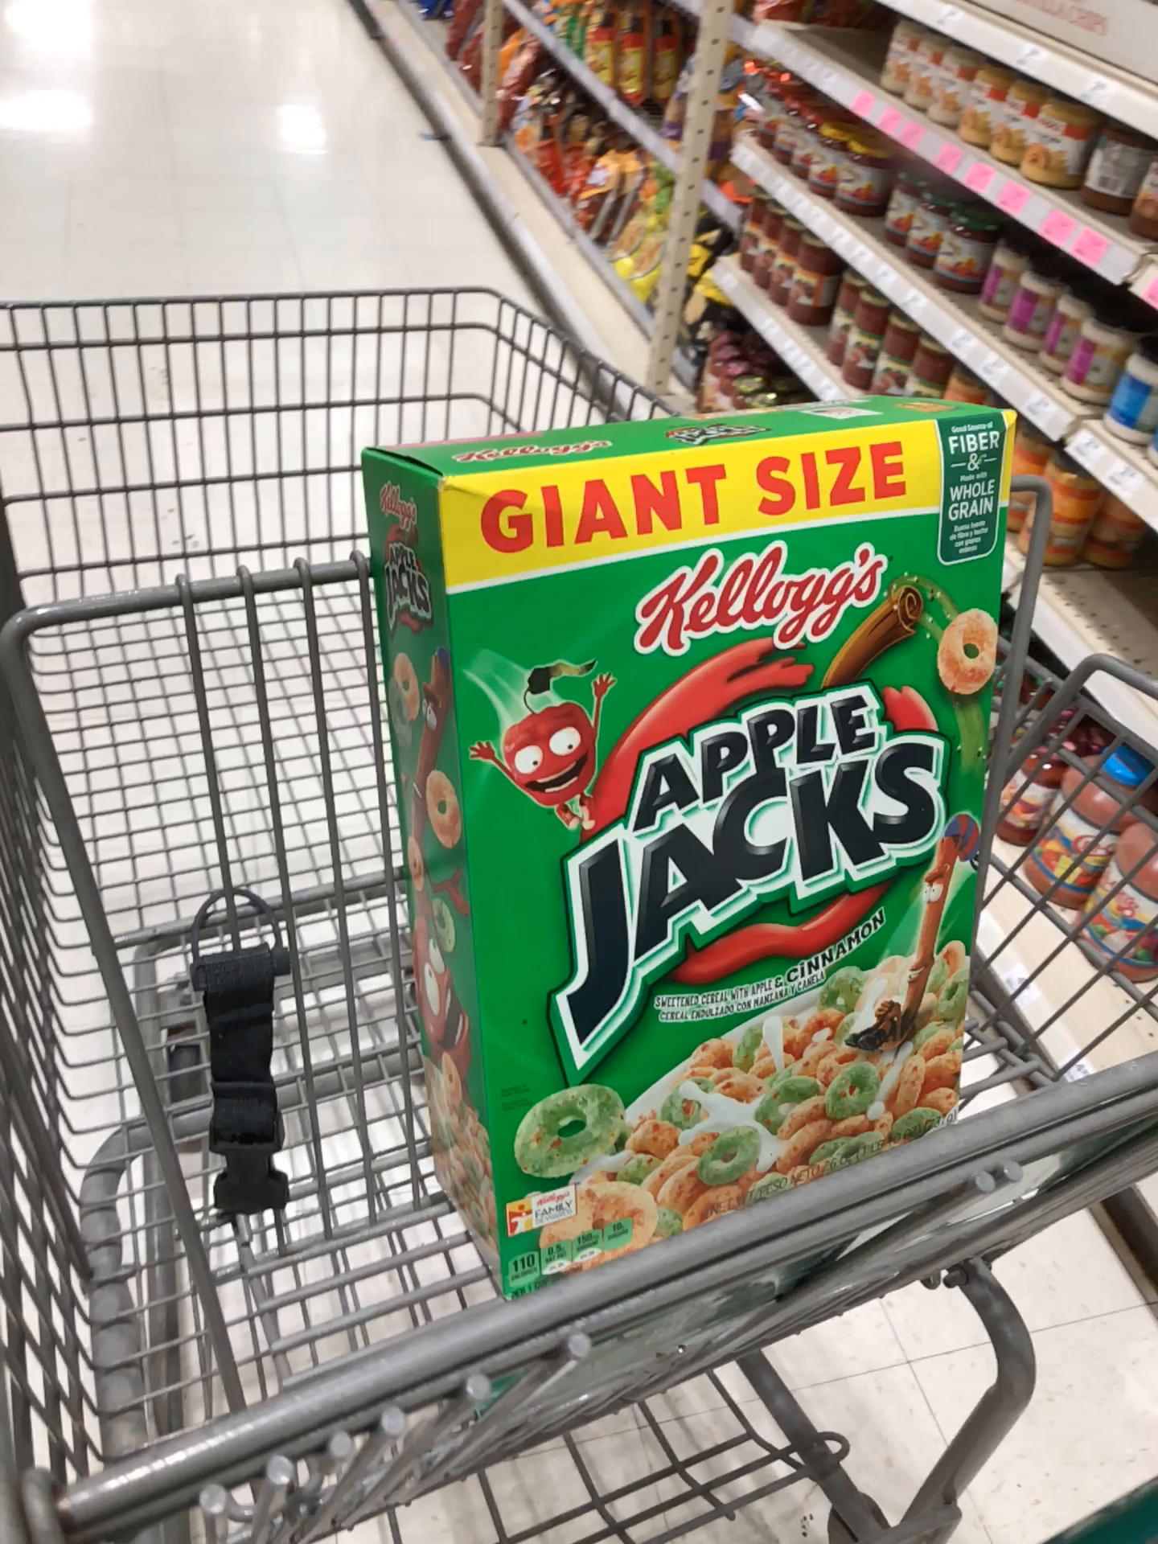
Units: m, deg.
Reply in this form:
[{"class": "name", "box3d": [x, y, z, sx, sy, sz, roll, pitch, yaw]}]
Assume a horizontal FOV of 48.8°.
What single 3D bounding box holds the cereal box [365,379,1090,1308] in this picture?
[{"class": "cereal box", "box3d": [0.064, 0.019, 0.519, 0.250, 0.319, 0.090, -13, 24, -23]}]
